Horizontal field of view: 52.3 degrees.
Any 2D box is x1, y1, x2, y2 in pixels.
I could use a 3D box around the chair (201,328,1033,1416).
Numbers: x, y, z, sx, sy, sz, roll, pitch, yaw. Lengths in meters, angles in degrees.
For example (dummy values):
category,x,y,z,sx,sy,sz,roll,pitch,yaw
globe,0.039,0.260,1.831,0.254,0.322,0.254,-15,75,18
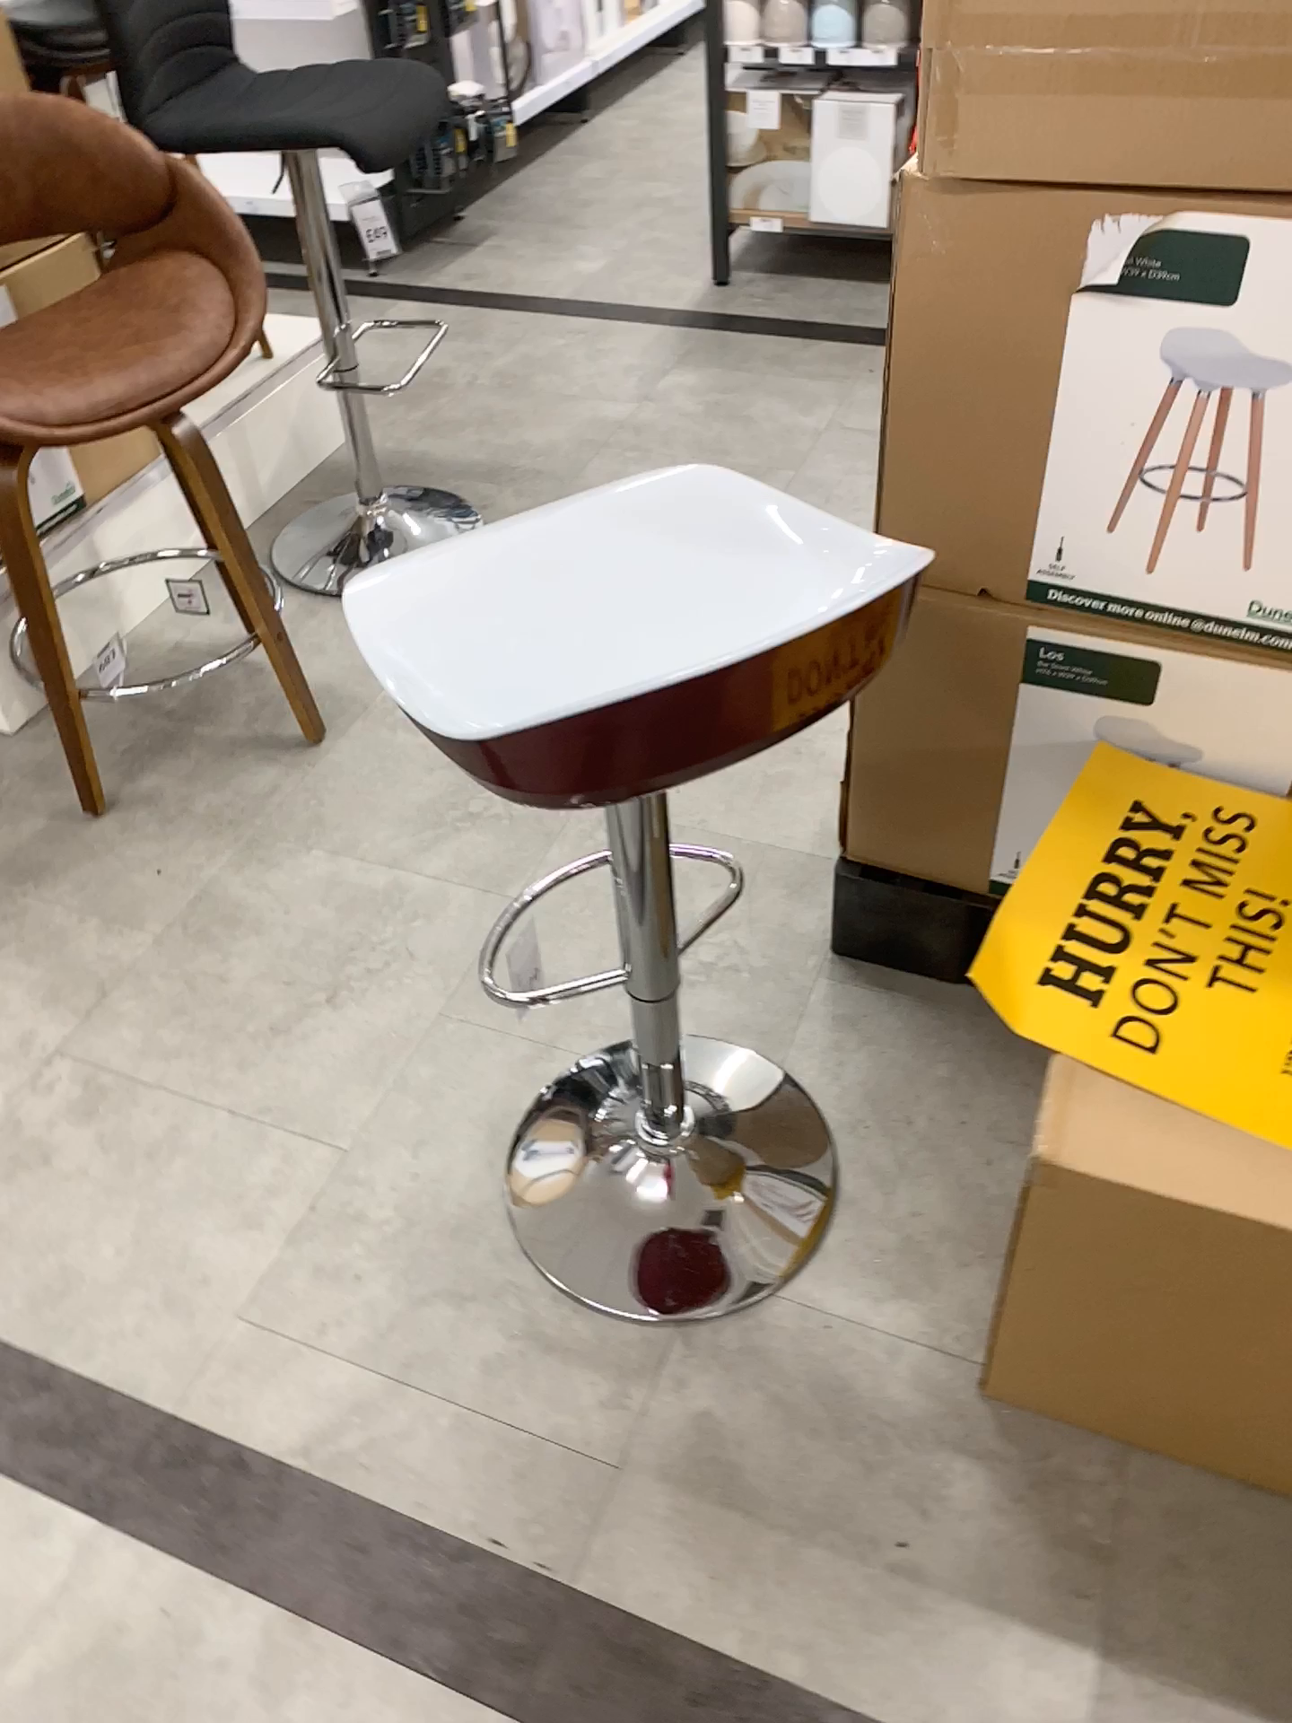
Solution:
category,x,y,z,sx,sy,sz,roll,pitch,yaw
chair,-0.016,0.028,1.208,0.436,0.793,0.437,-25,46,-21
